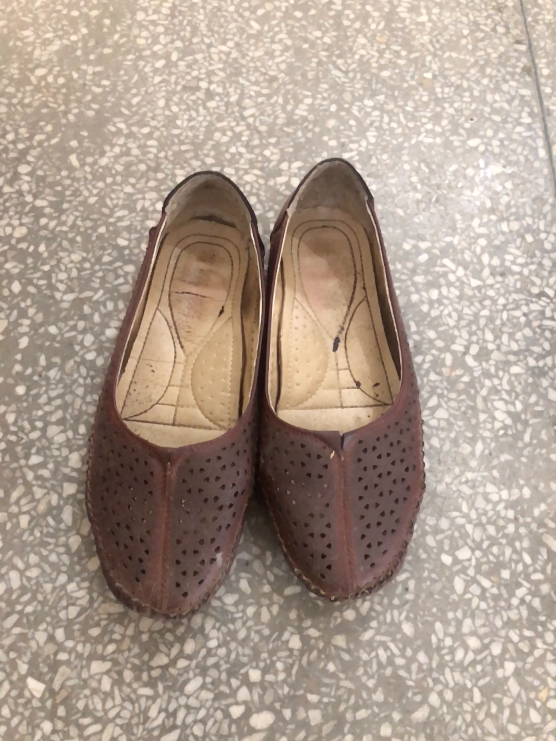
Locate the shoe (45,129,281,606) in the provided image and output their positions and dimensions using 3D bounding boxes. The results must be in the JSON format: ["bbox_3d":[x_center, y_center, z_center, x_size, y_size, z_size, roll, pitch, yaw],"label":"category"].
[{"bbox_3d":[-0.049,-0.008,0.336,0.090,0.060,0.250,3,68,-2],"label":"shoe"}]

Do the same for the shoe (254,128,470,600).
[{"bbox_3d":[0.033,-0.011,0.335,0.090,0.060,0.250,0,68,-3],"label":"shoe"}]
